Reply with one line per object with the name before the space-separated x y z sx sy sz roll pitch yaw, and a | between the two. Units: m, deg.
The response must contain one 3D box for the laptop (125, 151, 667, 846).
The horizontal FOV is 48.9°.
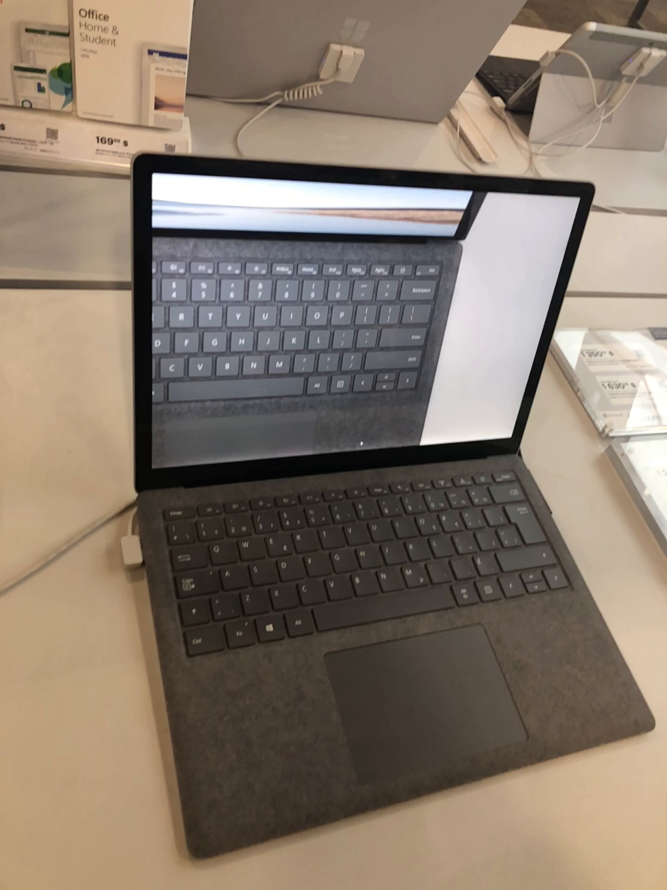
laptop | 0.052 0.014 0.433 0.297 0.197 0.295 -5 54 -22
